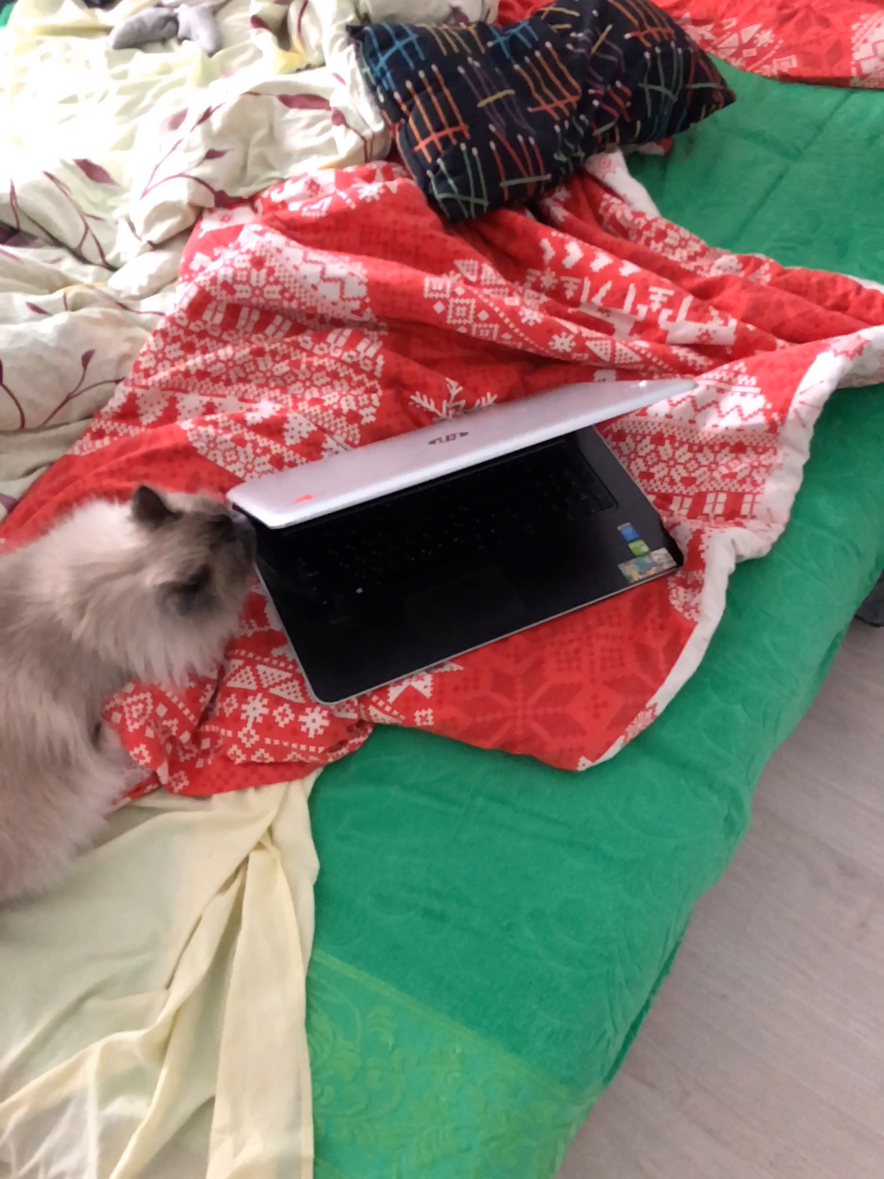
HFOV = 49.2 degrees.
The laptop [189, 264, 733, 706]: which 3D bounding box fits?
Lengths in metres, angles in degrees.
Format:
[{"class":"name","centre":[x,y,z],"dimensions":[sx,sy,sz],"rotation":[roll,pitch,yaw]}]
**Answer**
[{"class":"laptop","centre":[0.016,-0.113,0.945],"dimensions":[0.414,0.176,0.277],"rotation":[-21,60,-15]}]
